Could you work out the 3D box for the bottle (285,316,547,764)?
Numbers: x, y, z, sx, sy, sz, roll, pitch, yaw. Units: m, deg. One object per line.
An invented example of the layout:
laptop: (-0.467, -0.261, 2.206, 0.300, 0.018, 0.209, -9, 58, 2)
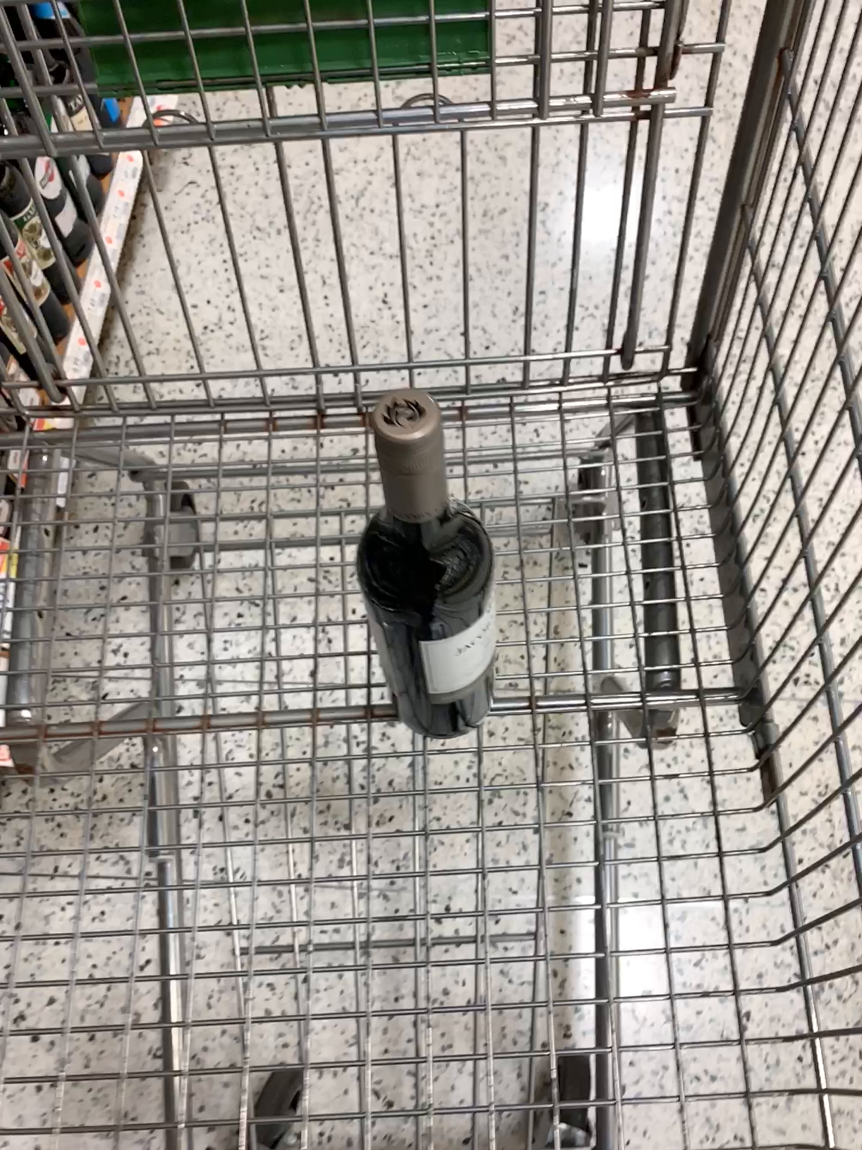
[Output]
bottle: (-0.001, 0.008, 0.507, 0.090, 0.318, 0.091, -1, 61, 1)
